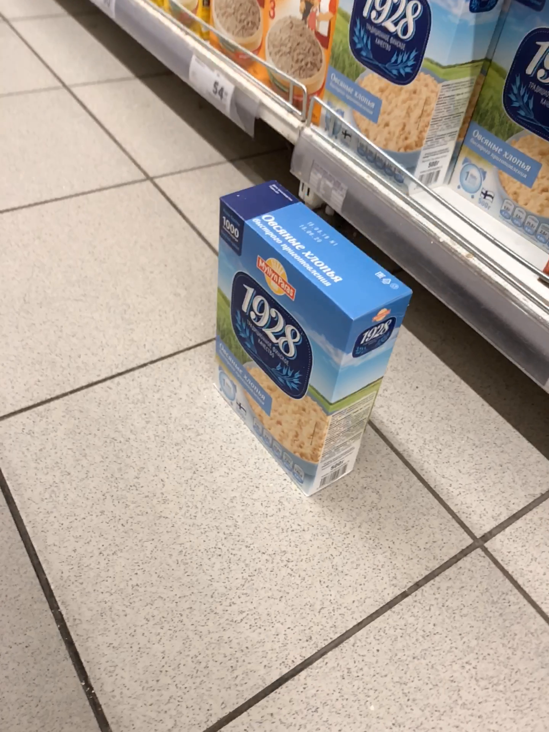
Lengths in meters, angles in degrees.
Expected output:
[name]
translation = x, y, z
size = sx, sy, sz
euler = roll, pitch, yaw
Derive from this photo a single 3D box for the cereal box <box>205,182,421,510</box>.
[cereal box]
translation = 0.013, -0.010, 0.470
size = 0.060, 0.199, 0.151
euler = -26, 56, -27
